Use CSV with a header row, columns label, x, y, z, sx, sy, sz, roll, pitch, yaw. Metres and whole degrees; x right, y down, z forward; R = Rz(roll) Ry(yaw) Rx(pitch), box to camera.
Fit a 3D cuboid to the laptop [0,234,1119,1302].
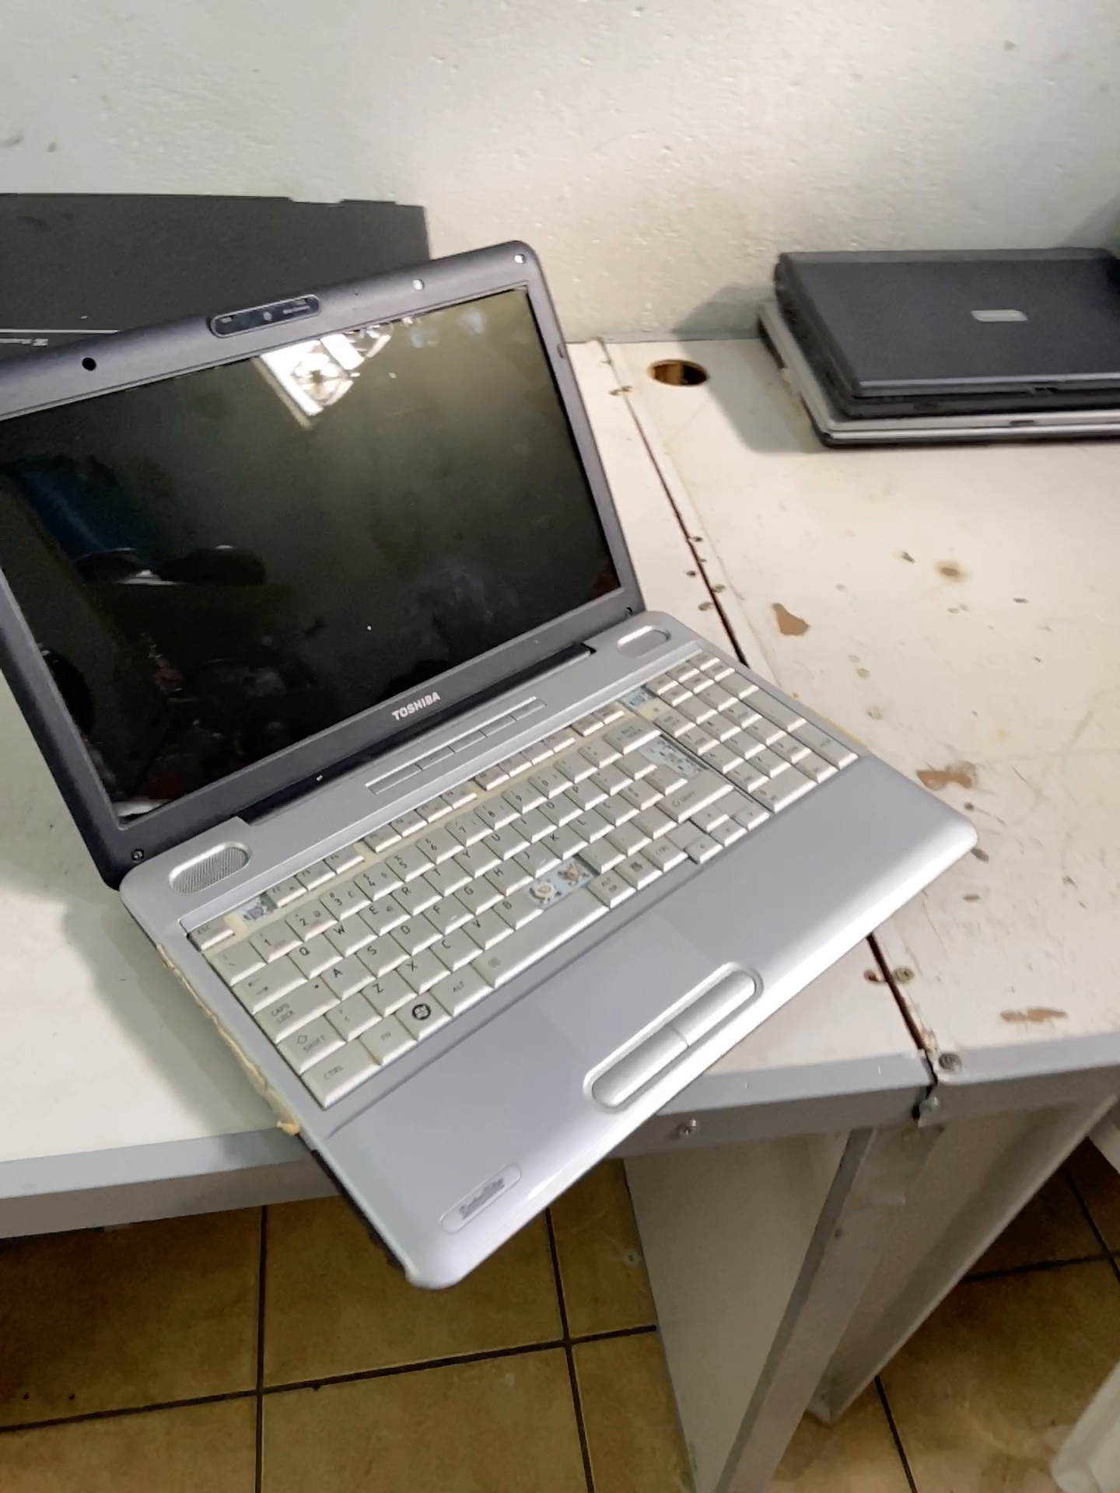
label,x,y,z,sx,sy,sz,roll,pitch,yaw
laptop,-0.033,-0.053,0.559,0.372,0.190,0.400,-29,53,-31
